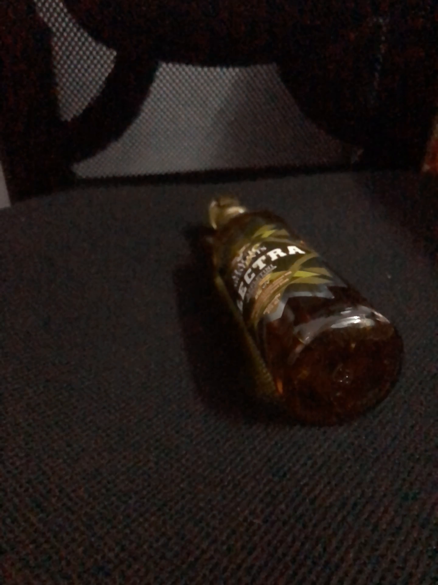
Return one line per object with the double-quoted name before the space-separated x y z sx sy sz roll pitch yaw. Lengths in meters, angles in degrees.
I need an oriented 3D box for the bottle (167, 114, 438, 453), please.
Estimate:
"bottle" 0.026 -0.031 0.283 0.070 0.060 0.231 -14 38 -5
